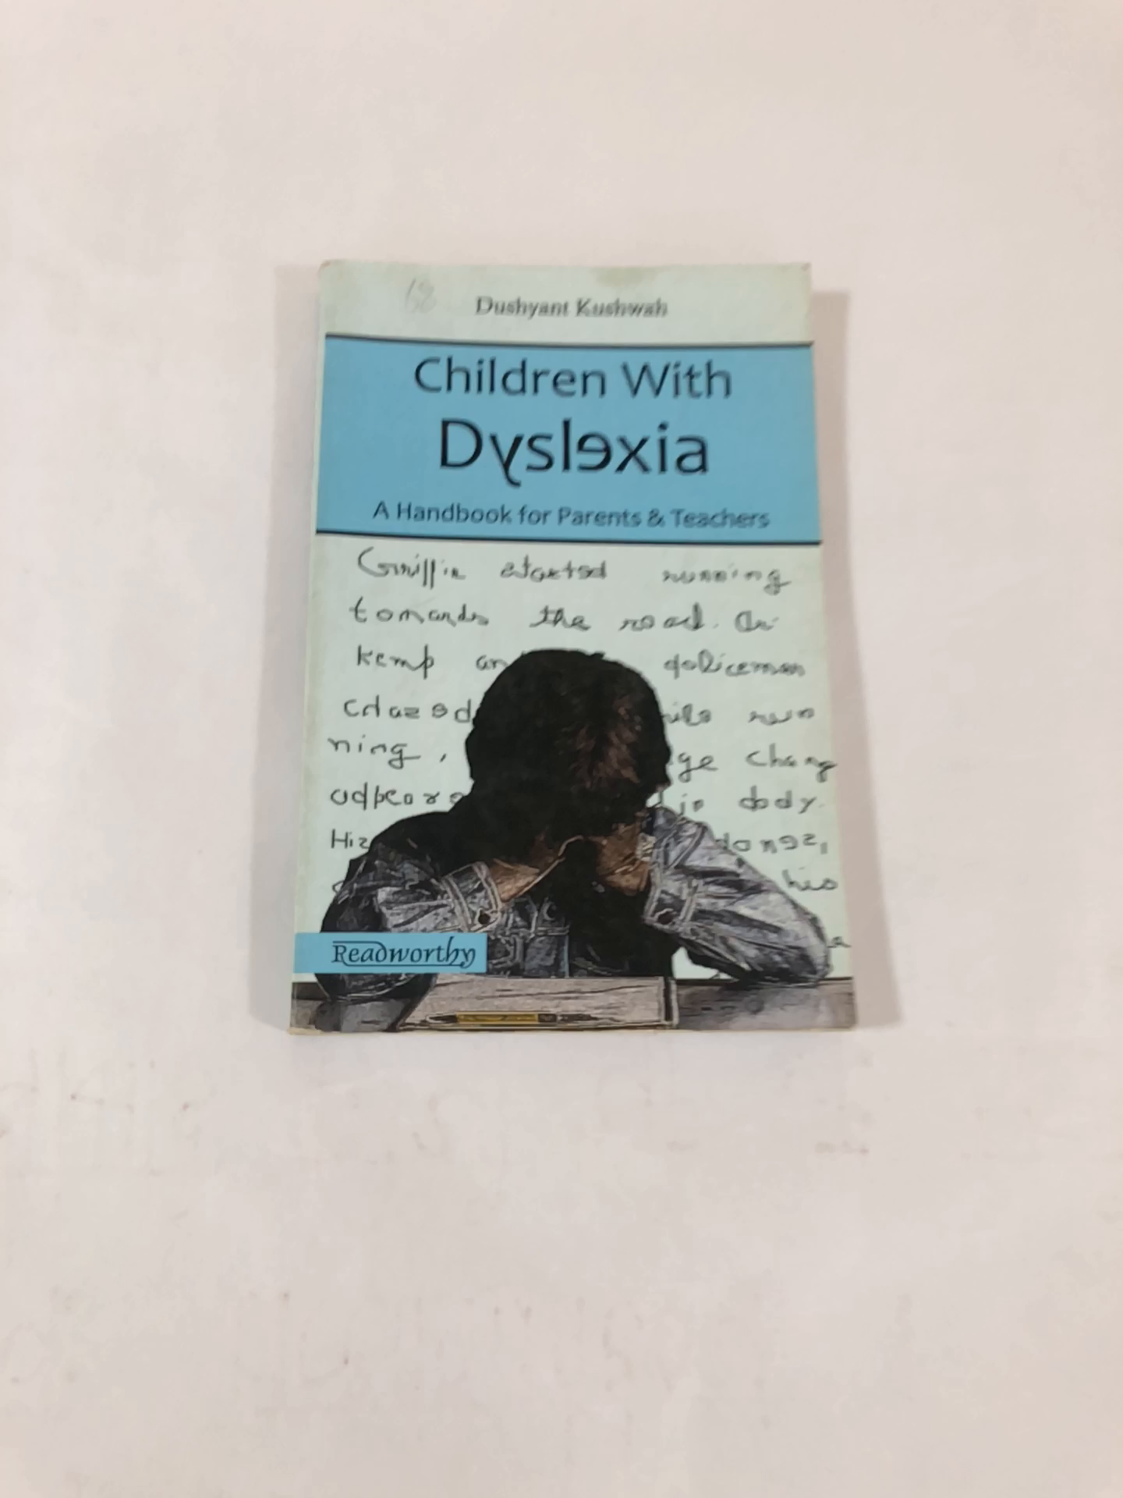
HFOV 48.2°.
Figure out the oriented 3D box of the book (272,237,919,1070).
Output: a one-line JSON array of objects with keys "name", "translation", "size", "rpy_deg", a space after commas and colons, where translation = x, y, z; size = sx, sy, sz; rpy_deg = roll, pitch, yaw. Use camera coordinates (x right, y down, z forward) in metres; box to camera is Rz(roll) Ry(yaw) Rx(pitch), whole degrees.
[{"name": "book", "translation": [0.007, -0.029, 0.333], "size": [0.150, 0.030, 0.220], "rpy_deg": [0, 75, -3]}]
